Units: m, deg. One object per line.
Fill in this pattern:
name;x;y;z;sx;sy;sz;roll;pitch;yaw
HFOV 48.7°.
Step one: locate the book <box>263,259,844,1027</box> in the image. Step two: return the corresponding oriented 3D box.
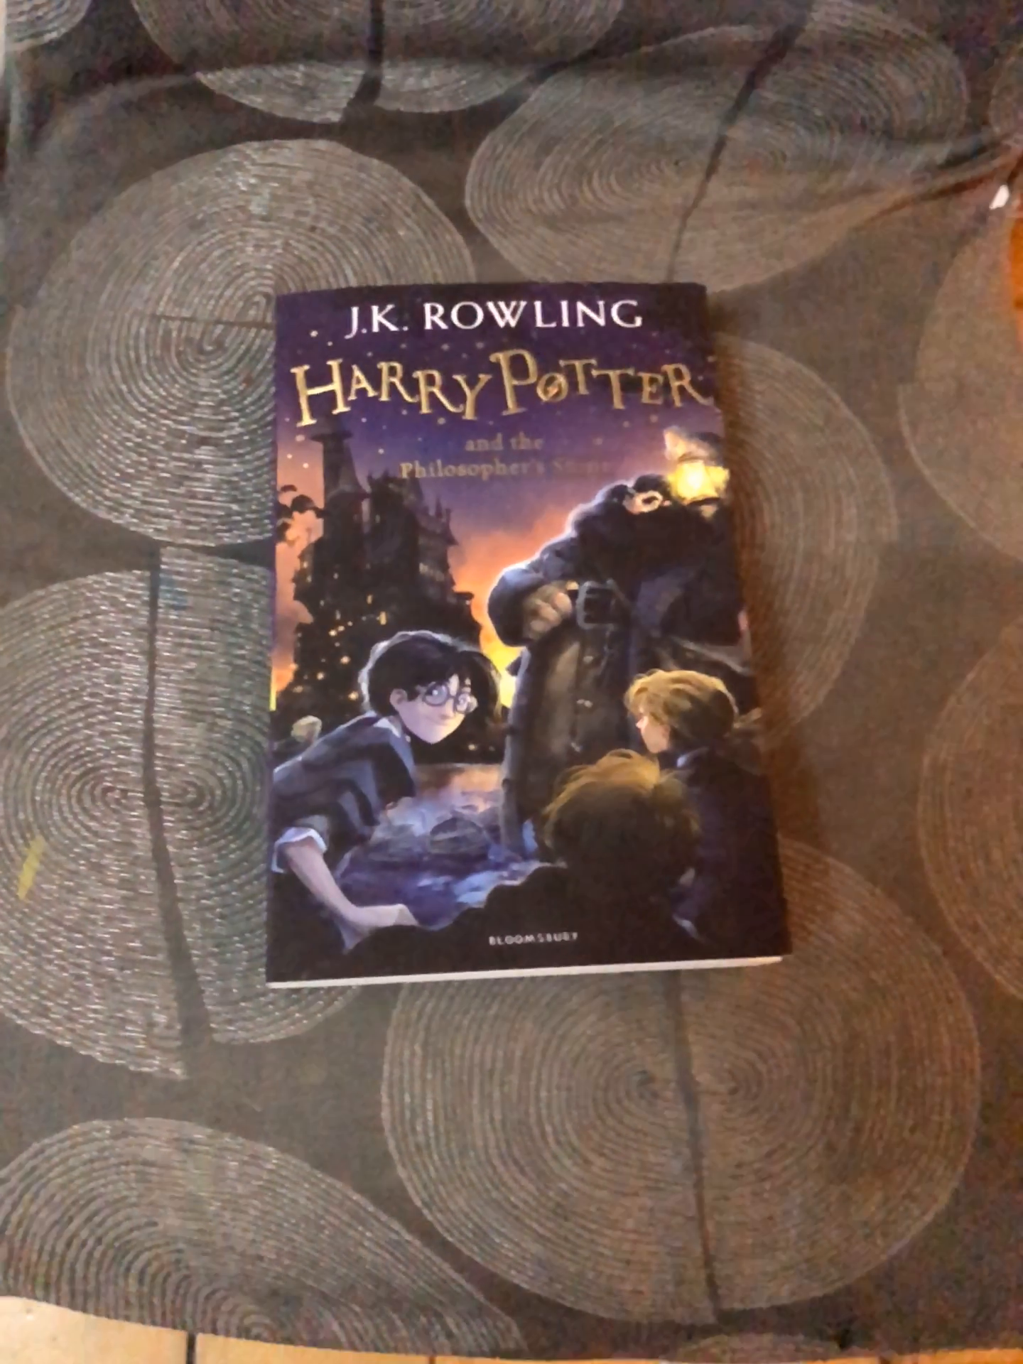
book;0.003;-0.018;0.321;0.140;0.040;0.210;-1;71;-9
